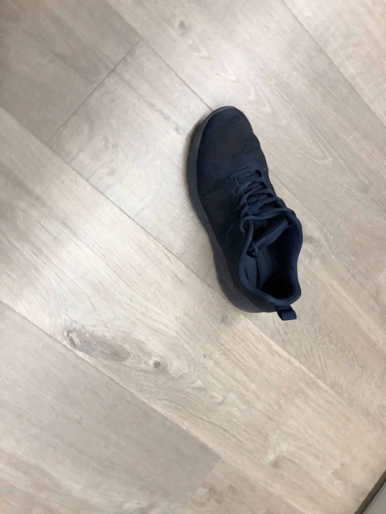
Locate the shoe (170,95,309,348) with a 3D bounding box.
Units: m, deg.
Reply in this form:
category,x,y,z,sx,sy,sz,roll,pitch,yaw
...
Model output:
category,x,y,z,sx,sy,sz,roll,pitch,yaw
shoe,0.060,-0.046,0.565,0.100,0.110,0.290,-14,100,-15
